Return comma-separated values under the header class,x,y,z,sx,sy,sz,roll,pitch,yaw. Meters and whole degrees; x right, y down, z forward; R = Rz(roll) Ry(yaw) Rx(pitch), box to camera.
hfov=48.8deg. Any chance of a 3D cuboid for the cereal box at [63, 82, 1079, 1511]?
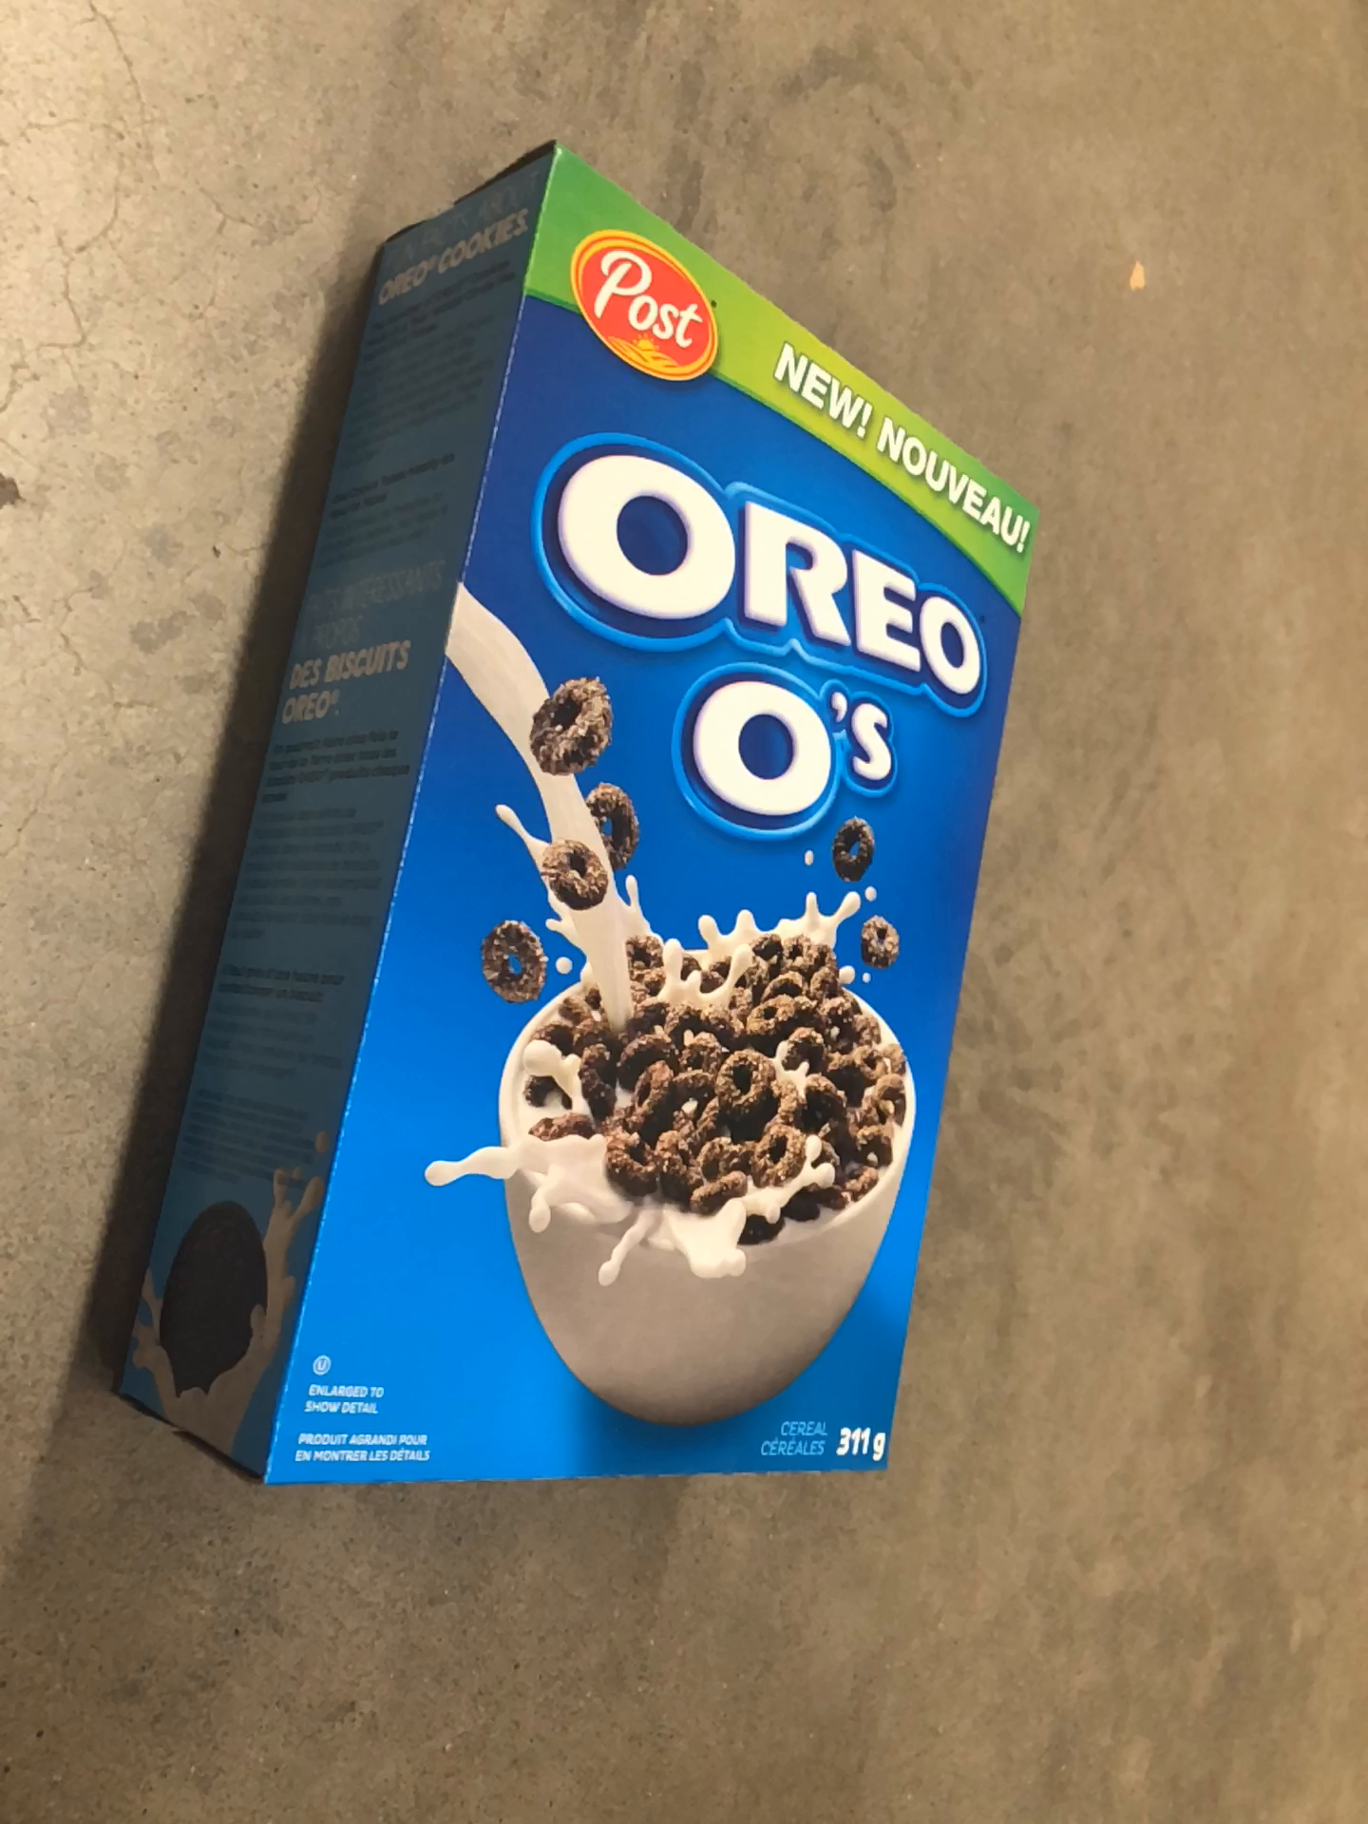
class,x,y,z,sx,sy,sz,roll,pitch,yaw
cereal box,-0.006,-0.008,0.380,0.211,0.070,0.280,18,79,-42
